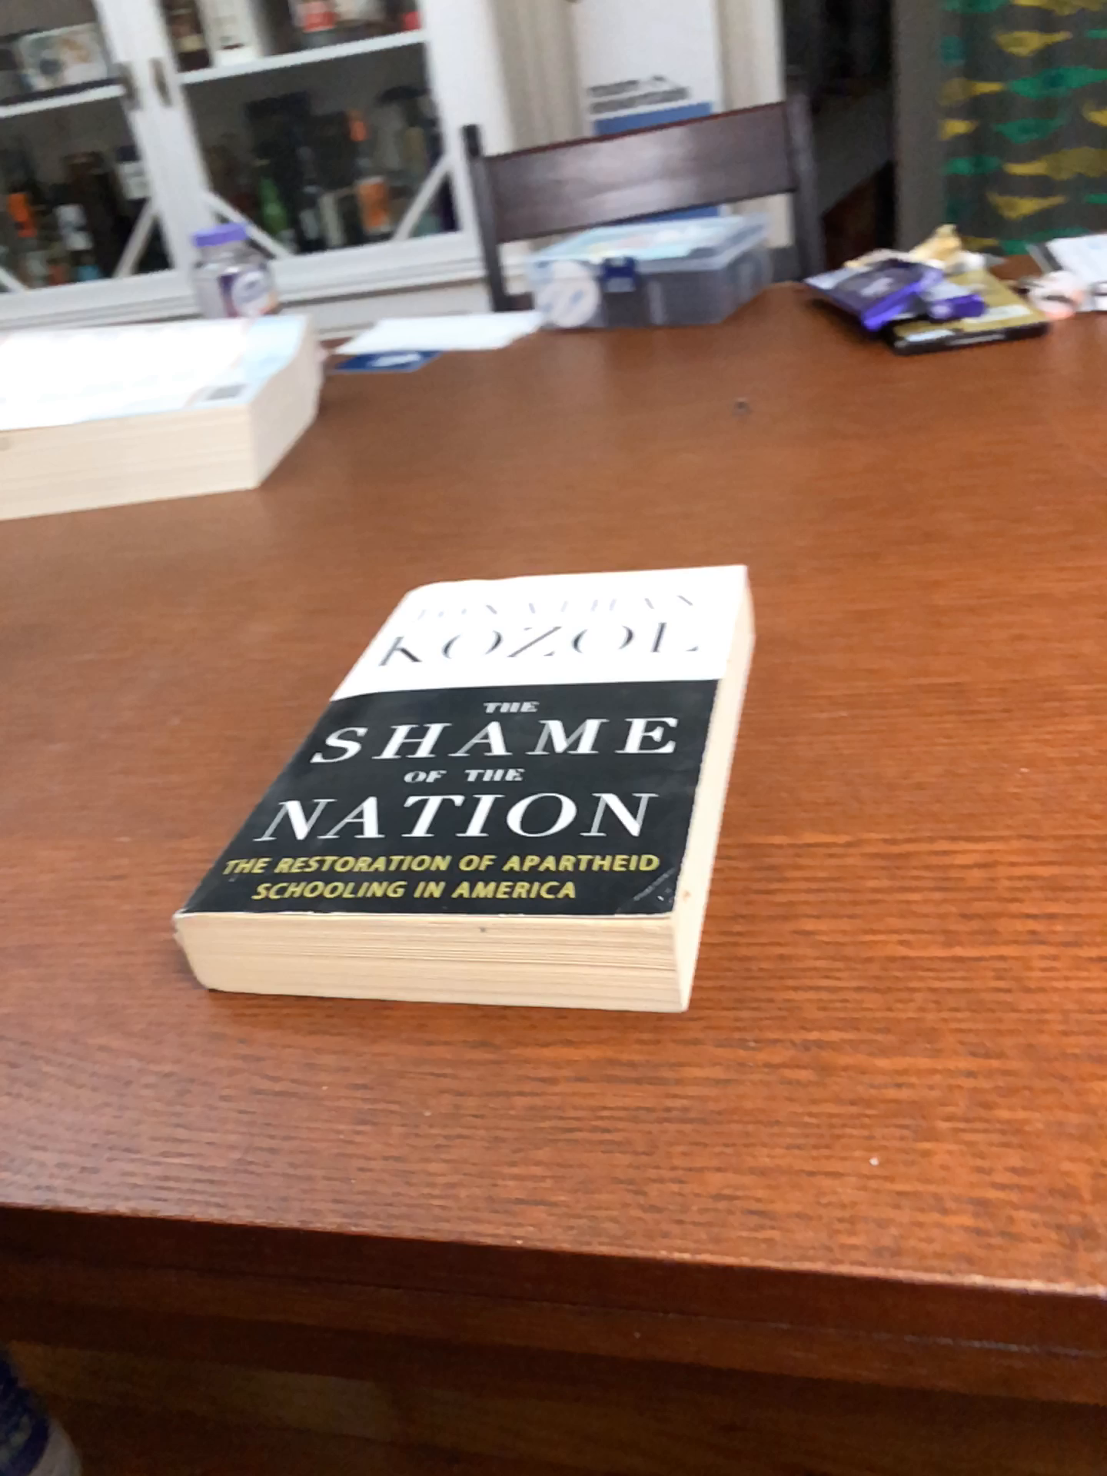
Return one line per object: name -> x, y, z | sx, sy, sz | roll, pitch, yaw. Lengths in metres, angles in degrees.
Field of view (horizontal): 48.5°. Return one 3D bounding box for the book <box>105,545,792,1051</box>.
book -> -0.012, 0.002, 0.402 | 0.160, 0.030, 0.231 | -1, 32, 16
